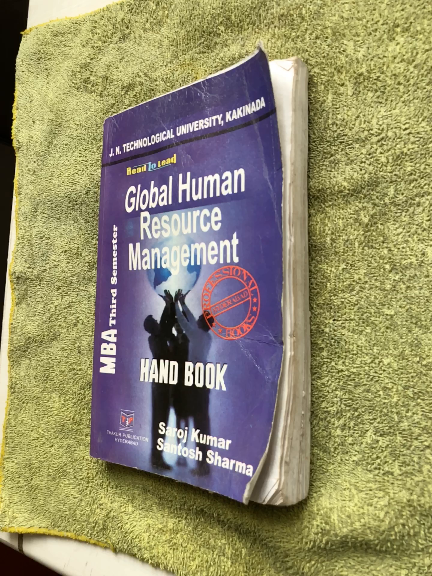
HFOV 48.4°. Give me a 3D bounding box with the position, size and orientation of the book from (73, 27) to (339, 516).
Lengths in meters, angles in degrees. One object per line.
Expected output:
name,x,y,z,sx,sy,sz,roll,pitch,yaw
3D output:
book,-0.011,-0.007,0.253,0.141,0.040,0.200,-3,84,37
